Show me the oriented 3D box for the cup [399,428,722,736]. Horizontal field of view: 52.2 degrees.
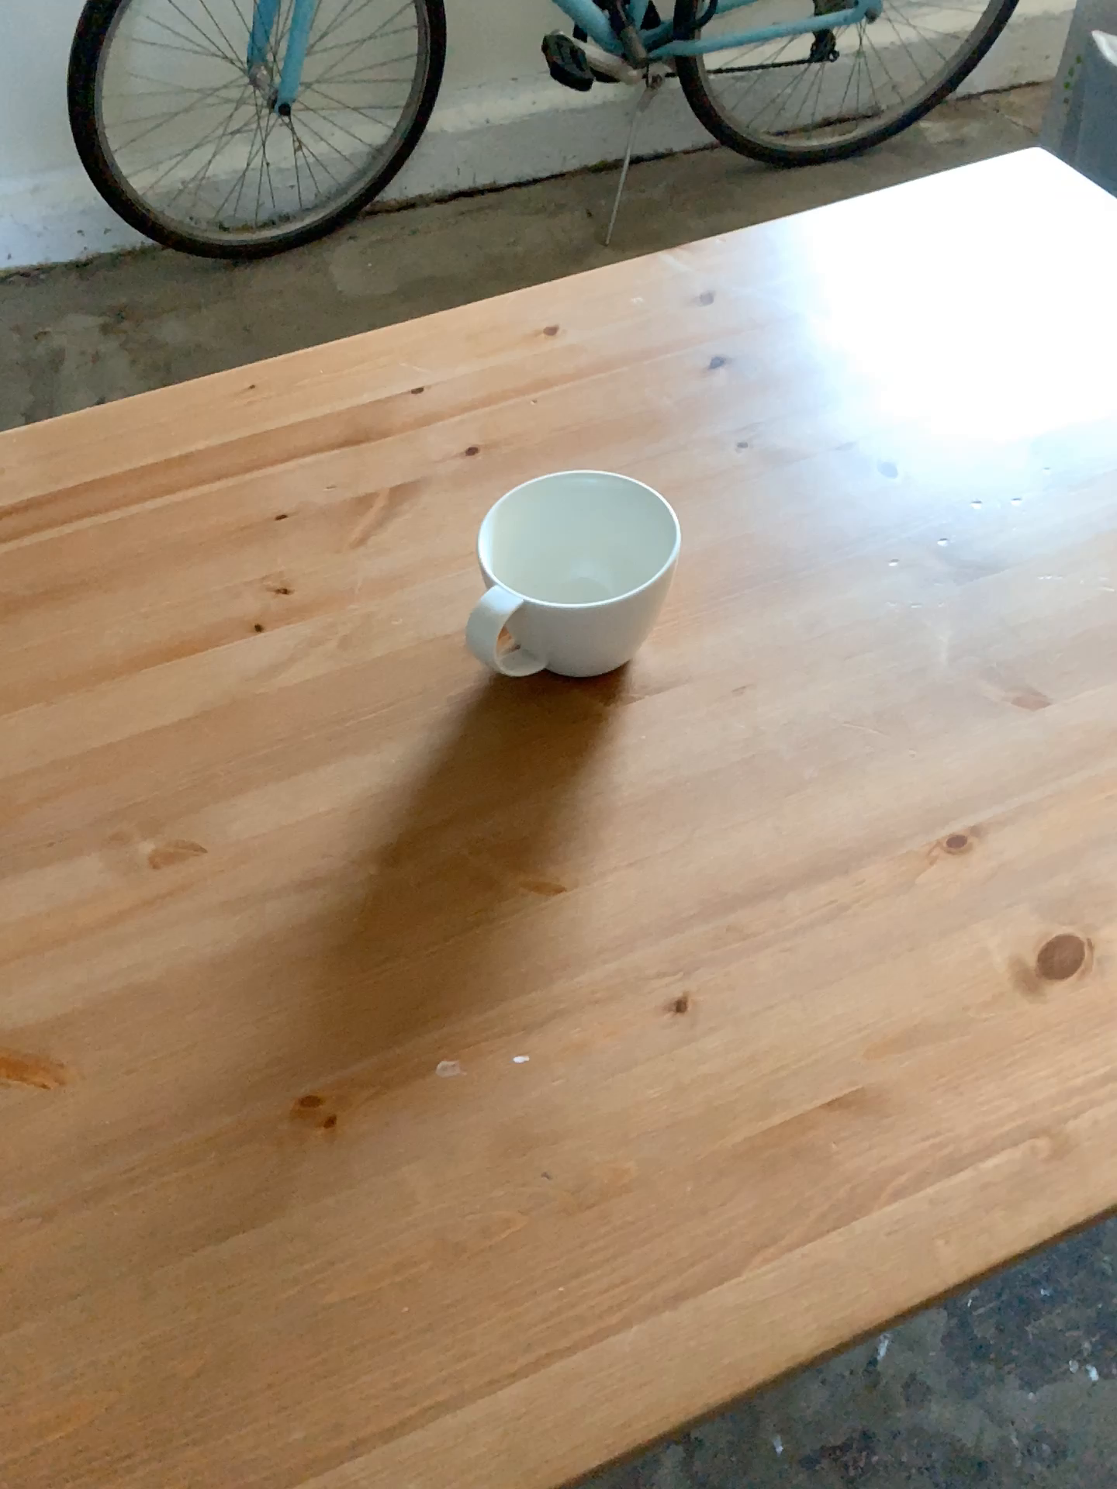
[{"bbox_3d":[0.002,-0.092,0.625,0.130,0.070,0.110,-30,57,-18],"label":"cup"}]
